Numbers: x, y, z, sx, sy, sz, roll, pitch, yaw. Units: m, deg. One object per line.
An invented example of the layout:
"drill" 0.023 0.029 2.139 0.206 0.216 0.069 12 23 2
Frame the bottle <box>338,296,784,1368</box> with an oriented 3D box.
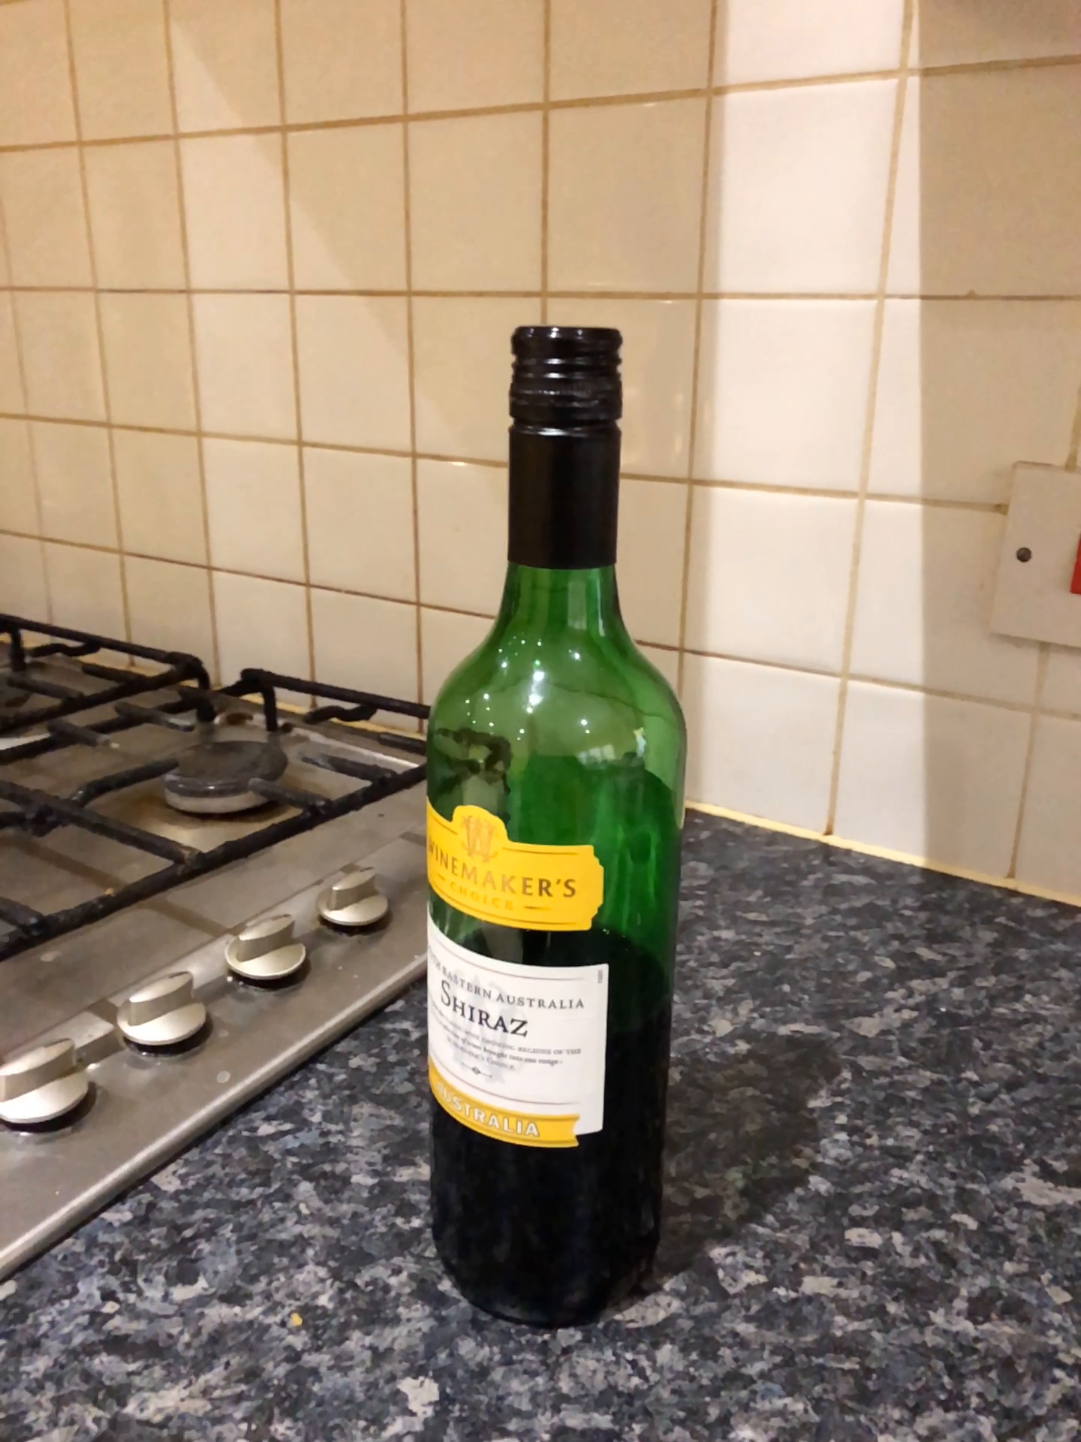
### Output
"bottle" 0.005 0.028 0.339 0.080 0.278 0.080 1 18 0
